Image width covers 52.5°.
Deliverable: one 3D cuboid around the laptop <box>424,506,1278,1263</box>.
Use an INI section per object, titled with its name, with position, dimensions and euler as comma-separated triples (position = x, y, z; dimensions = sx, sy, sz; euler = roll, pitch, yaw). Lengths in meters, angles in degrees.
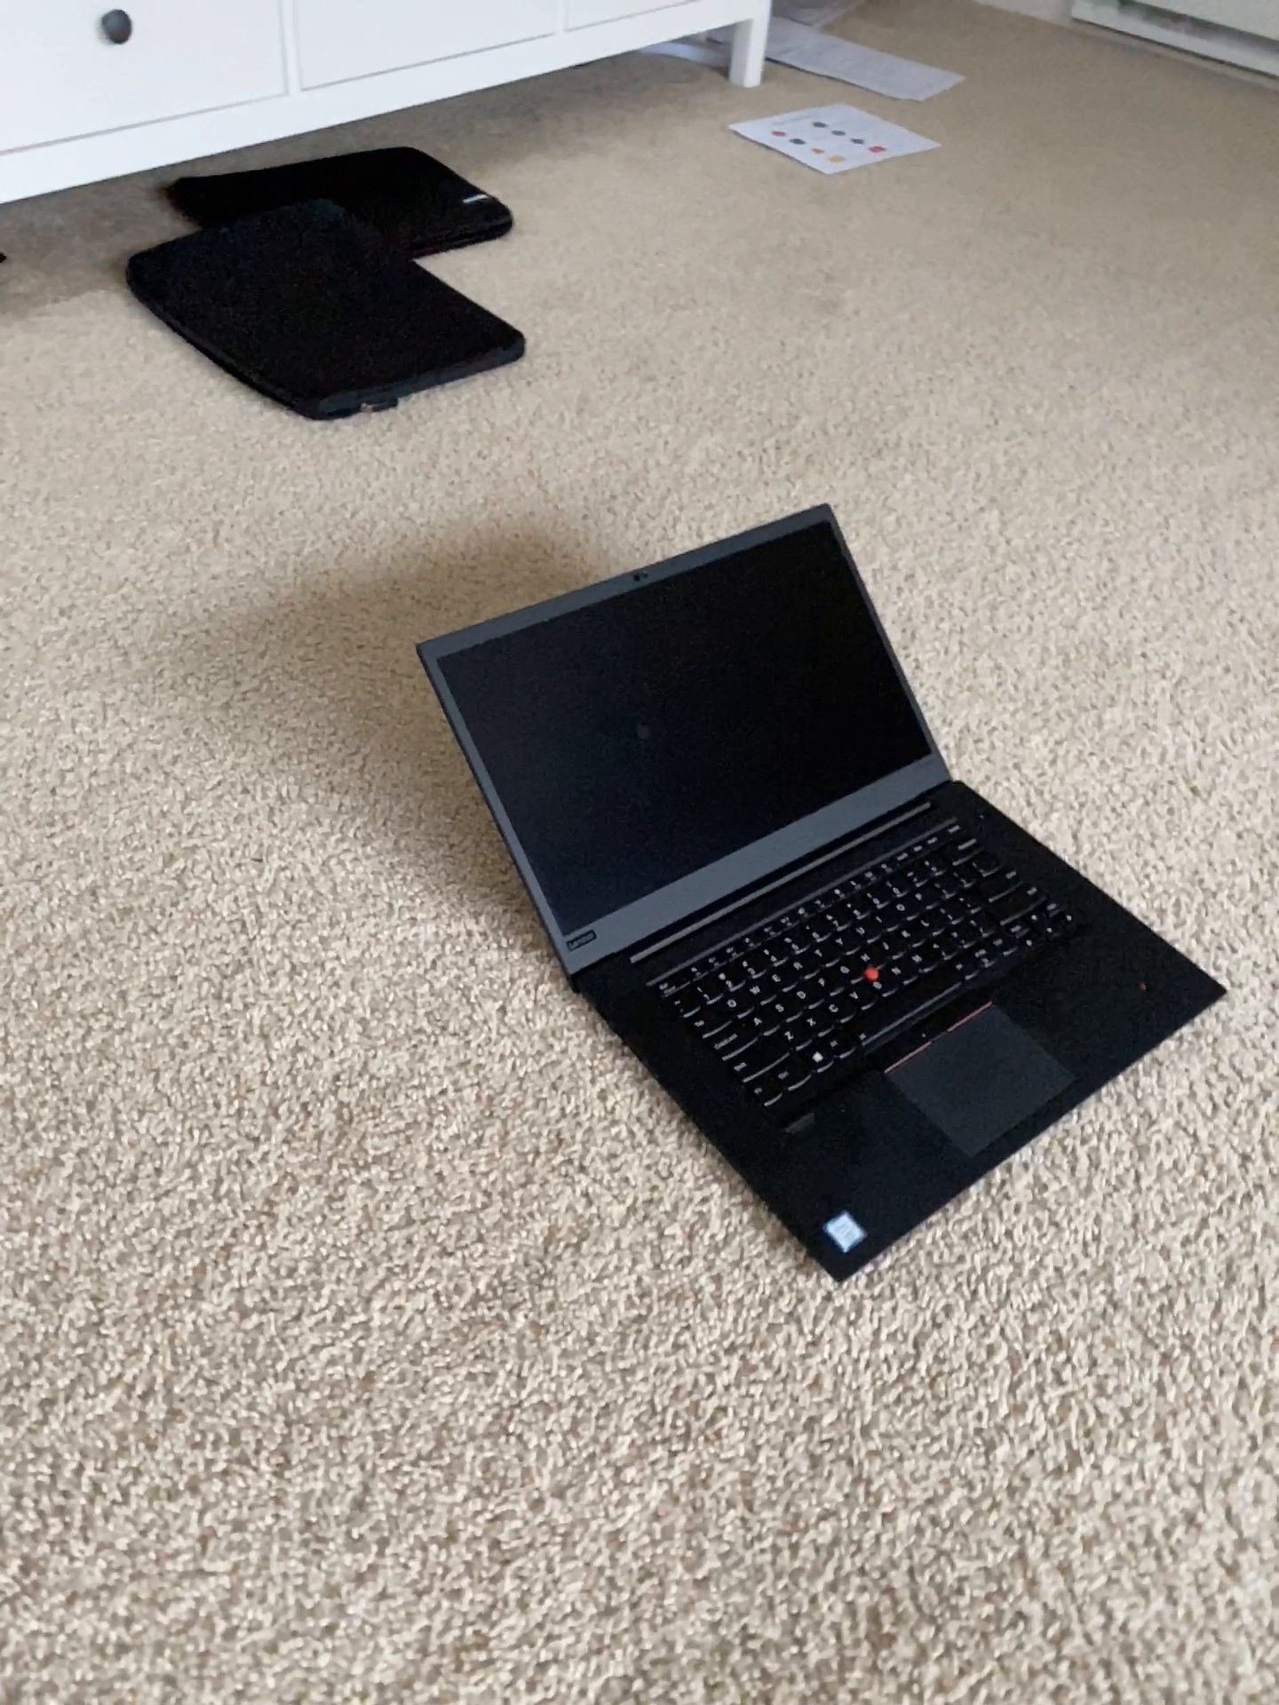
[laptop]
position = 0.127, -0.023, 0.863
dimensions = 0.360, 0.141, 0.434
euler = -26, 53, -29
